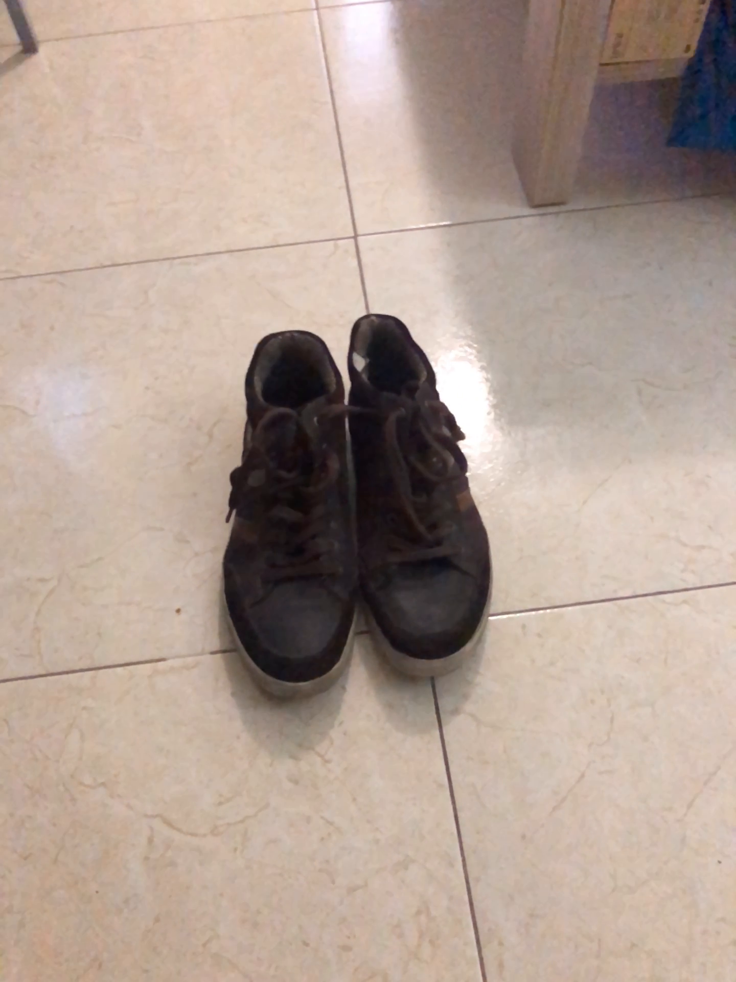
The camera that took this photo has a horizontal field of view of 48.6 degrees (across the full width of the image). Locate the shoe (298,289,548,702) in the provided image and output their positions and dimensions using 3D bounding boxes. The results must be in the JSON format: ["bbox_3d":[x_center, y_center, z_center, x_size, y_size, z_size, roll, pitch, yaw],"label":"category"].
[{"bbox_3d":[0.032,-0.006,0.651,0.120,0.110,0.301,-11,58,-4],"label":"shoe"}]

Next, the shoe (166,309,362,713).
[{"bbox_3d":[-0.072,0.008,0.646,0.120,0.110,0.301,-3,58,1],"label":"shoe"}]
